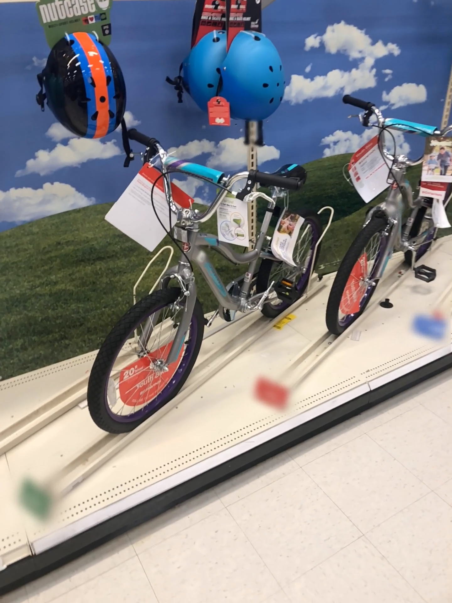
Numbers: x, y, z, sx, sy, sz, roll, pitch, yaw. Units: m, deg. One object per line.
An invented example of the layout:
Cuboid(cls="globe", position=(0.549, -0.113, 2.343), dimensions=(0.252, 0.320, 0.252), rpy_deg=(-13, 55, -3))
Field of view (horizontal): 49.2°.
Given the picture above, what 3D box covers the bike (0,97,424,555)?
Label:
Cuboid(cls="bike", position=(0.072, -0.096, 1.741), dimensions=(0.650, 0.878, 1.324), rpy_deg=(19, 38, 33))
